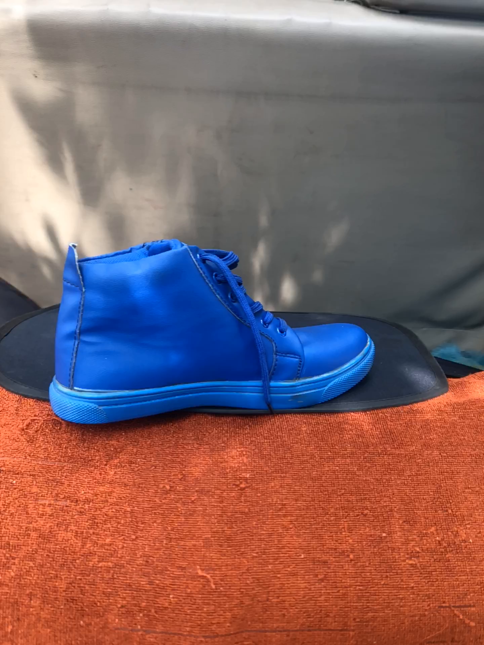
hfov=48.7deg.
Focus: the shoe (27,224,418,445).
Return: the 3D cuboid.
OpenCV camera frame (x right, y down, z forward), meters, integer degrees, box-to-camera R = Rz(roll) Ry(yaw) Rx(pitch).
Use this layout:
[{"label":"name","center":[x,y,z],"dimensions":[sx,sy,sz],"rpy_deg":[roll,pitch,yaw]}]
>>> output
[{"label":"shoe","center":[-0.016,-0.004,0.447],"dimensions":[0.290,0.139,0.100],"rpy_deg":[-3,20,-19]}]
